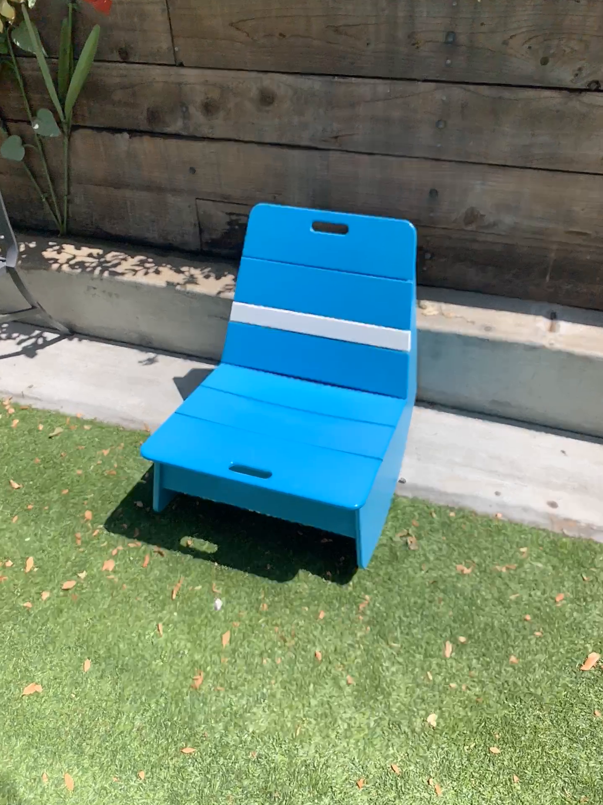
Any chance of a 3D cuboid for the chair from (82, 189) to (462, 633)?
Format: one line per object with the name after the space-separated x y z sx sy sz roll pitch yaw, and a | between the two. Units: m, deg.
-0.003 -0.008 1.607 0.591 0.745 0.723 14 45 17 | chair
